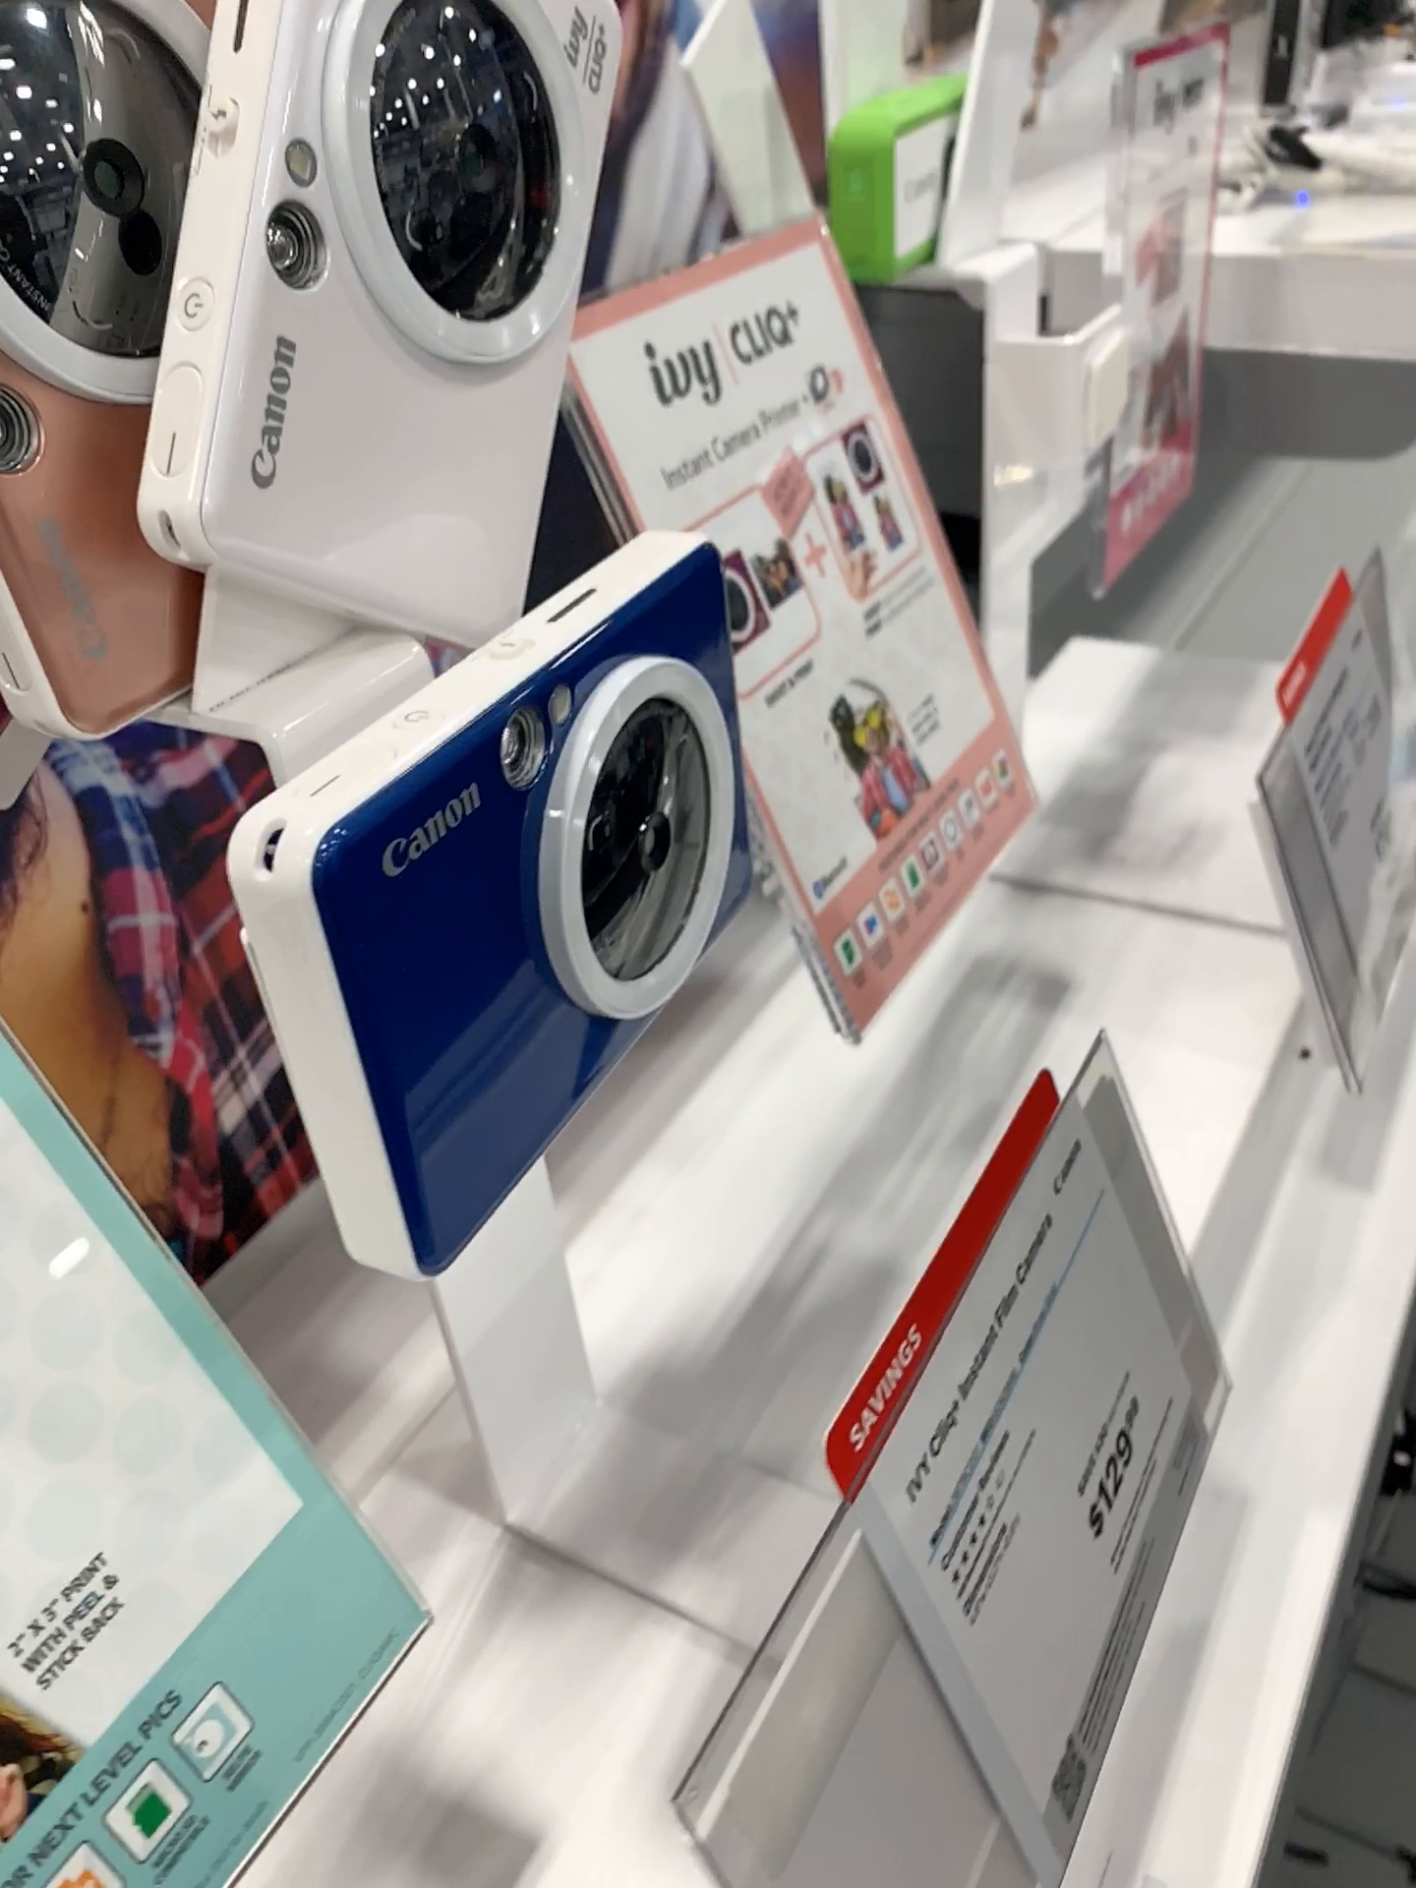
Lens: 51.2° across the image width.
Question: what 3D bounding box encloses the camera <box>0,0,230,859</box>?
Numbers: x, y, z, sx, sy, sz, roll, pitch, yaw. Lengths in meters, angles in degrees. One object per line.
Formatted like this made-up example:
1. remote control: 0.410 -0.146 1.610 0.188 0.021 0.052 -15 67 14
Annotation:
1. camera: -0.123 -0.075 0.200 0.028 0.110 0.078 12 66 23

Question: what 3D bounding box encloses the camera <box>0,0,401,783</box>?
1. camera: -0.093 -0.097 0.222 0.028 0.119 0.078 11 38 25

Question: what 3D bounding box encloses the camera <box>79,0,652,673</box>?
1. camera: -0.051 -0.112 0.241 0.028 0.120 0.078 12 4 29

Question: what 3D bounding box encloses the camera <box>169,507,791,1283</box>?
1. camera: -0.025 -0.016 0.241 0.028 0.070 0.121 12 38 24
